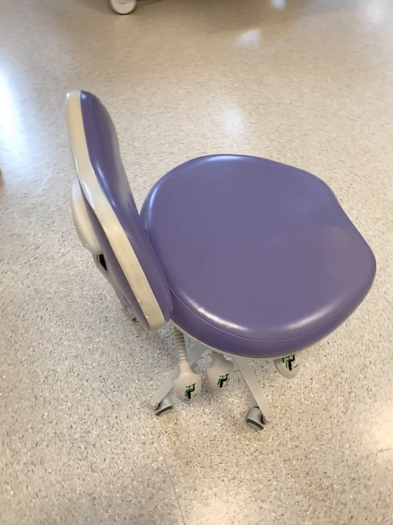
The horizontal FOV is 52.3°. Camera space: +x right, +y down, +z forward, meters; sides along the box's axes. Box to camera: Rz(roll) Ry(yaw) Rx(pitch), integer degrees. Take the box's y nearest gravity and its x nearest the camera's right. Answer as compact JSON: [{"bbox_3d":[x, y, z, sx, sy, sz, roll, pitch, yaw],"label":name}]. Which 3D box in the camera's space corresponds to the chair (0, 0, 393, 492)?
[{"bbox_3d":[0.121,-0.005,0.802,0.651,0.824,0.603,-17,61,-12],"label":"chair"}]
